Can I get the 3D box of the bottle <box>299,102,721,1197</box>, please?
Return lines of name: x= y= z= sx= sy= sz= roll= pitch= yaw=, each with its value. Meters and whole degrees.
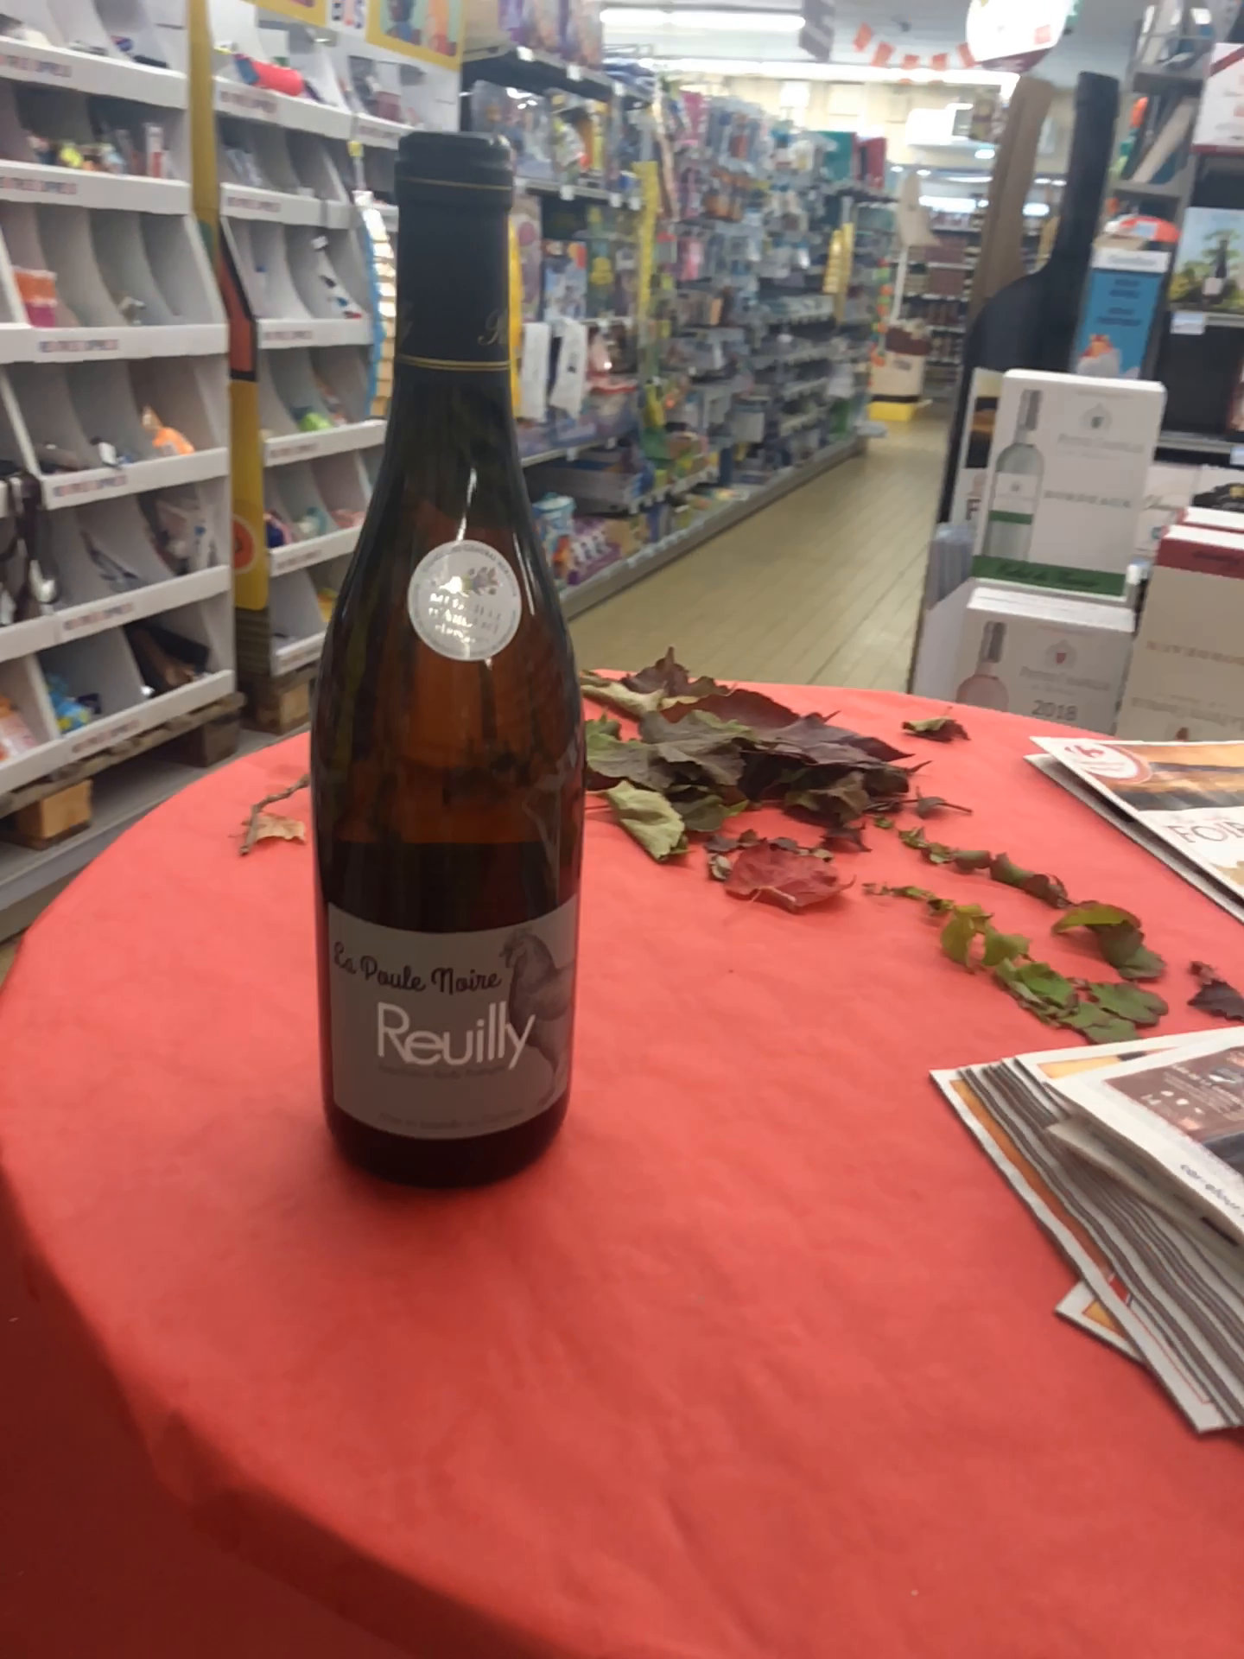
bottle: x=-0.043 y=-0.043 z=0.389 sx=0.090 sy=0.278 sz=0.090 roll=4 pitch=22 yaw=-2
